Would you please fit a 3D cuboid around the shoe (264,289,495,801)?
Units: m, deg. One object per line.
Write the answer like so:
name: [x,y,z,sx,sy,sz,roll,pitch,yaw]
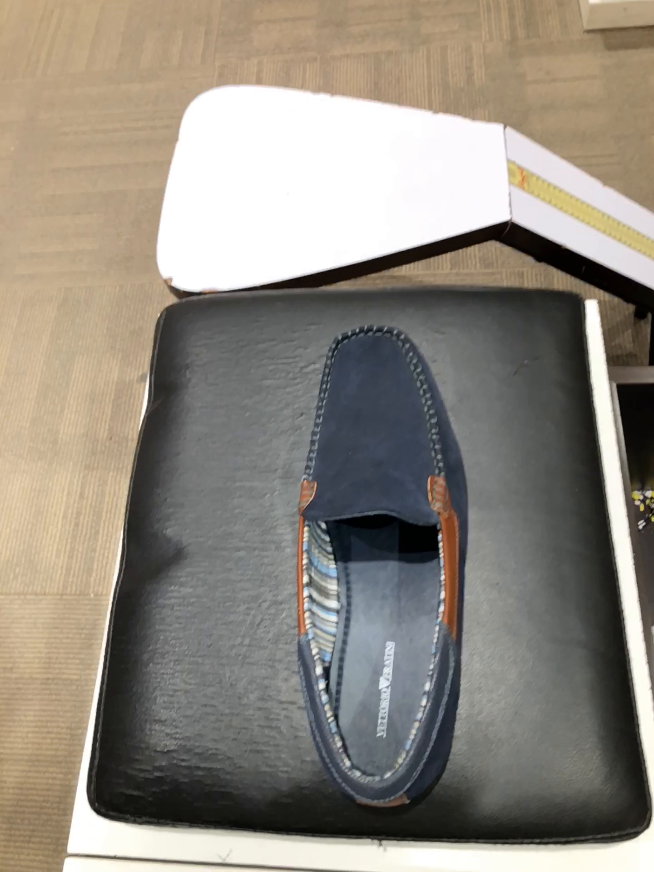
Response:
shoe: [0.030,0.062,0.450,0.110,0.100,0.292,-3,65,6]
